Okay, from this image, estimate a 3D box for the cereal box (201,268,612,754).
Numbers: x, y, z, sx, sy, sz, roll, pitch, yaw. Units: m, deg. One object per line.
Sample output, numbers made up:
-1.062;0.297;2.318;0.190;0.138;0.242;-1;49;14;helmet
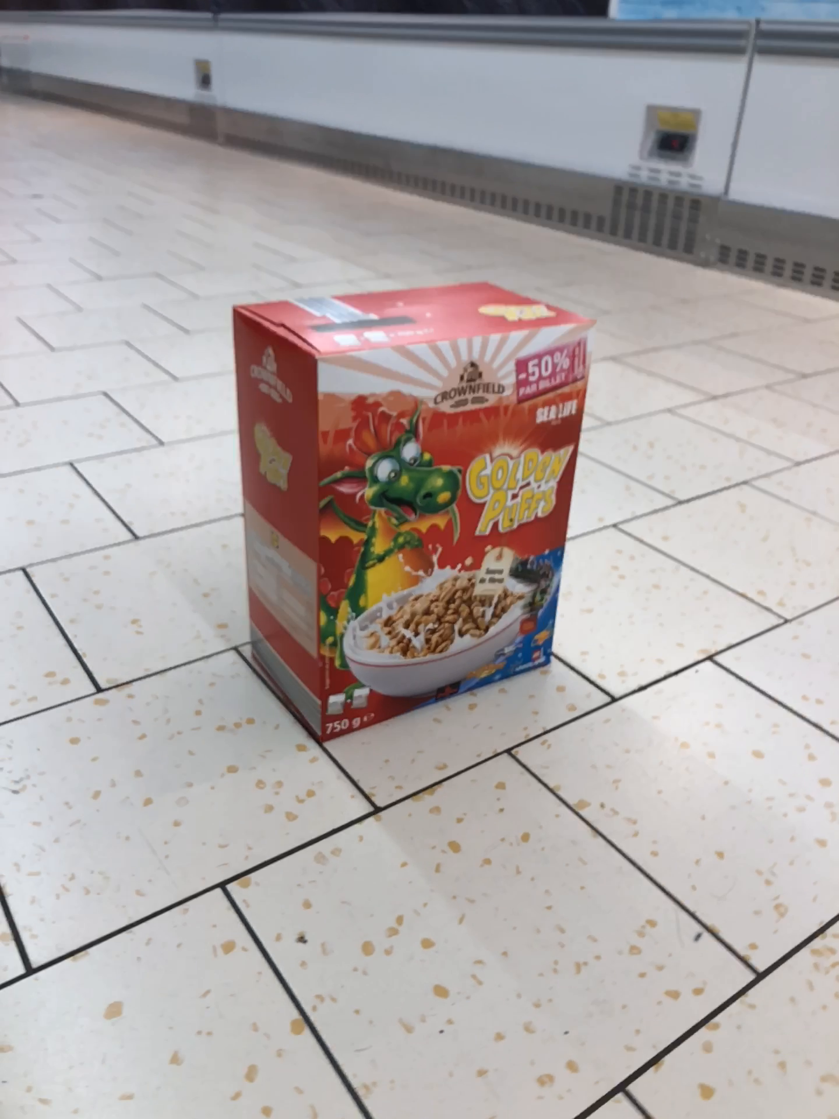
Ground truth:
-0.014;-0.043;0.607;0.201;0.249;0.140;-14;32;-28;cereal box
